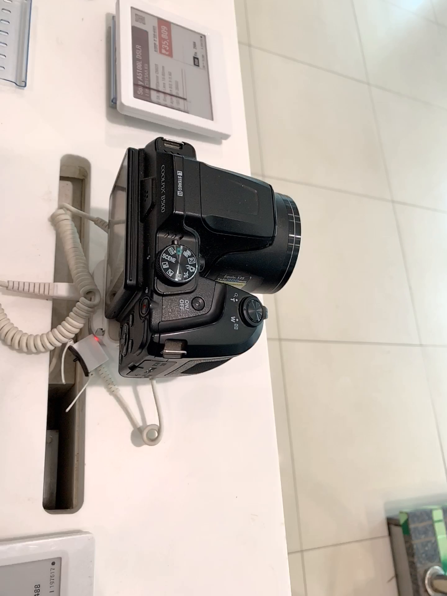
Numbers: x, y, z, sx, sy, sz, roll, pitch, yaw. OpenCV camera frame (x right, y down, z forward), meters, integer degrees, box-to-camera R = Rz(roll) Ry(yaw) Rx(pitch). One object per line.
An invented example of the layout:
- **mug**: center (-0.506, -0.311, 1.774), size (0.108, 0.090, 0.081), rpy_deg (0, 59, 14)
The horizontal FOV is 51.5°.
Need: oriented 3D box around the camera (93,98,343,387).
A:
- **camera**: center (-0.010, -0.019, 0.248), size (0.100, 0.080, 0.120), rpy_deg (5, 69, -23)
